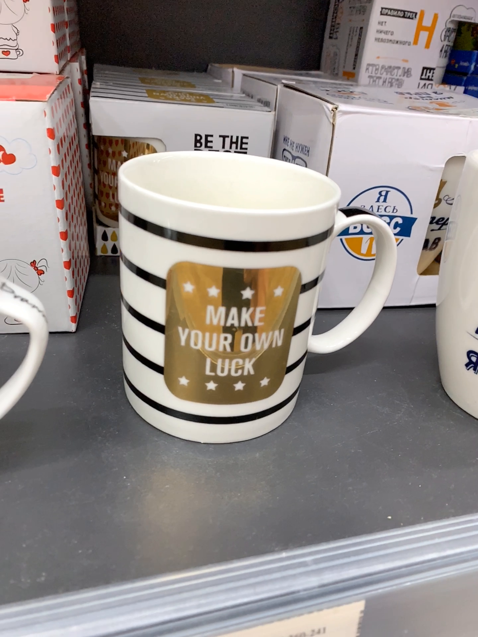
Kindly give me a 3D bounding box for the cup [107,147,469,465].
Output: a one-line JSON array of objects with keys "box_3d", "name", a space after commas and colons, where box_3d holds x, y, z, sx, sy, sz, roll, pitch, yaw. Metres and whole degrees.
[{"box_3d": [0.008, -0.012, 0.210, 0.115, 0.096, 0.082, -4, 32, -18], "name": "cup"}]
